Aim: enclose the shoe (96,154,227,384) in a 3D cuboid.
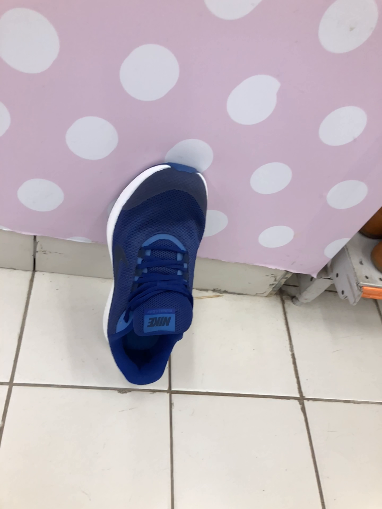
[{"bbox_3d":[-0.044,0.013,0.493,0.100,0.239,0.110,5,11,-18],"label":"shoe"}]
